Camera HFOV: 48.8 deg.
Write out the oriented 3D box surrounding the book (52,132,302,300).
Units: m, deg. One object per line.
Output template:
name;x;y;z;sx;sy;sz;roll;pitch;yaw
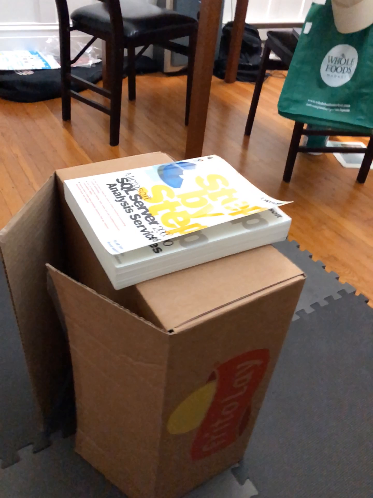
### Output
book;-0.017;-0.062;0.520;0.241;0.050;0.201;-18;48;-25
